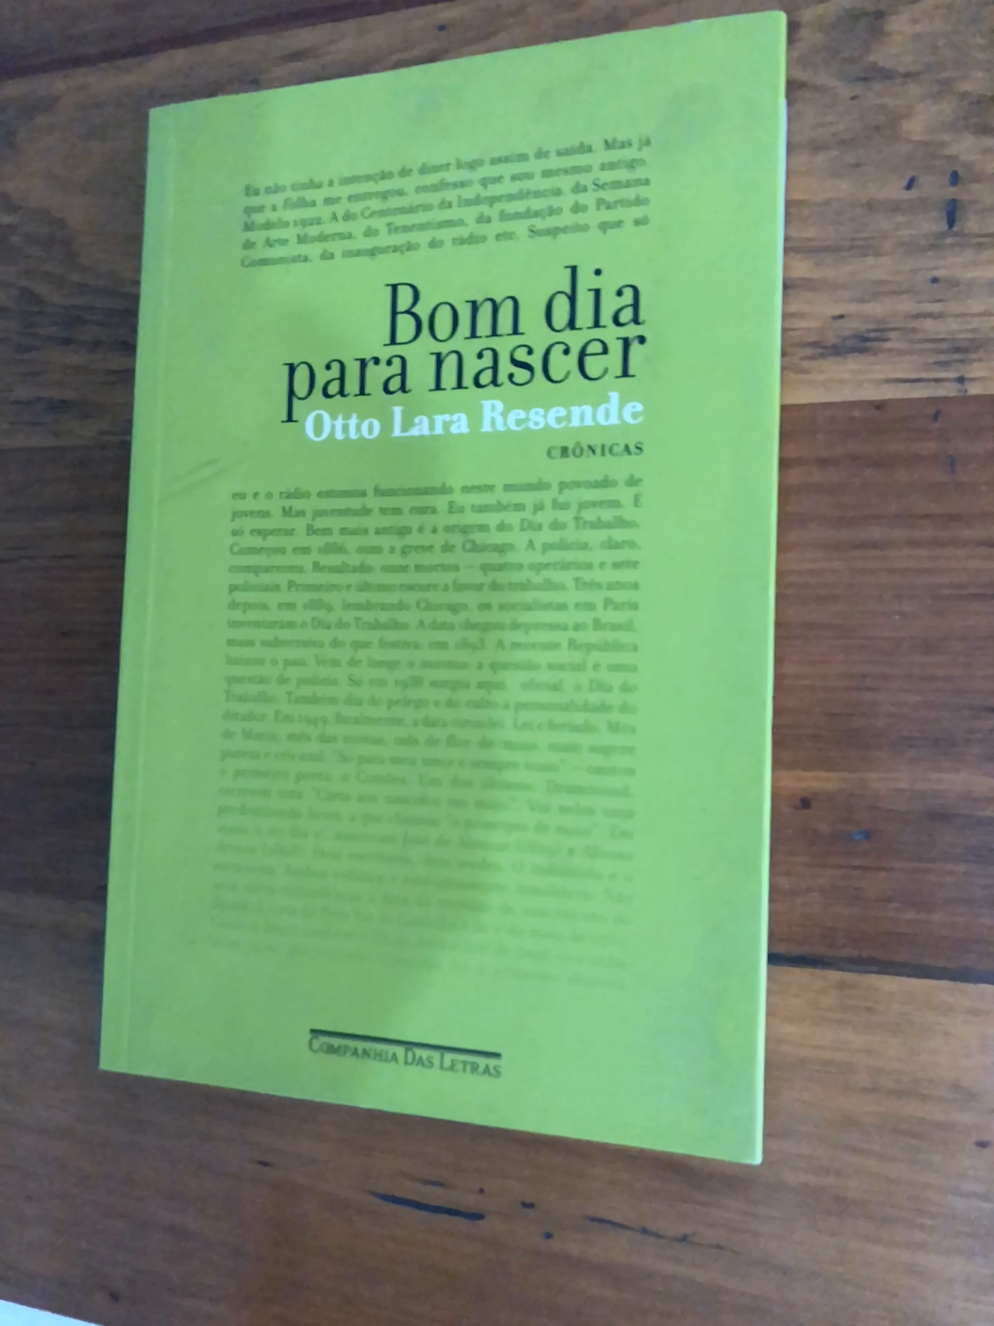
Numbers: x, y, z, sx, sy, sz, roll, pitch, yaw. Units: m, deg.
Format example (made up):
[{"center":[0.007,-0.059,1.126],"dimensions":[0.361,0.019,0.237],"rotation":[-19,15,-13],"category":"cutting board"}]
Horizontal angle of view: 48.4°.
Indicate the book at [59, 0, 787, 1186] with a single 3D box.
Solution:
[{"center":[-0.014,-0.018,0.224],"dimensions":[0.136,0.030,0.208],"rotation":[1,85,17],"category":"book"}]
